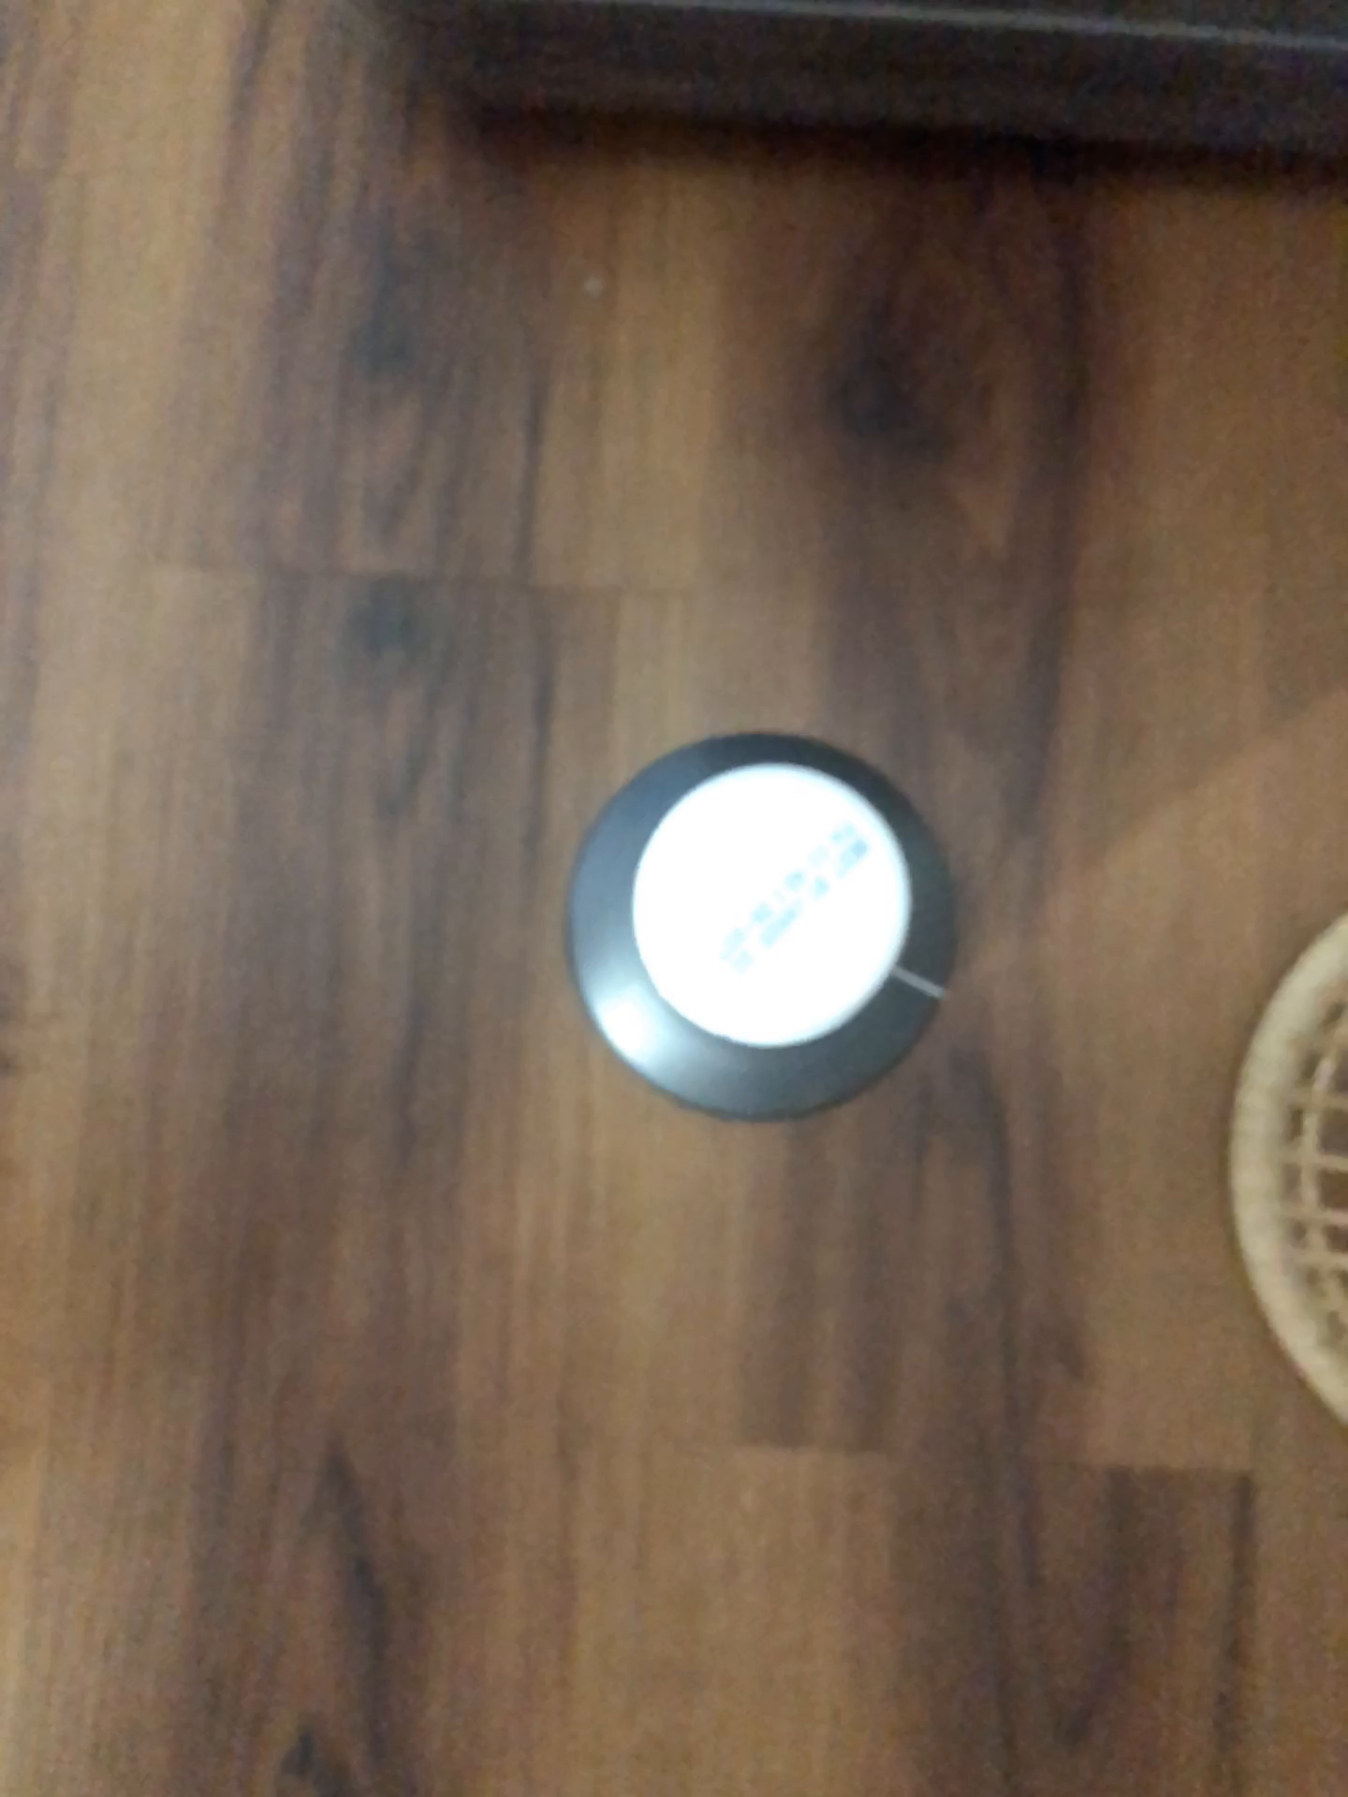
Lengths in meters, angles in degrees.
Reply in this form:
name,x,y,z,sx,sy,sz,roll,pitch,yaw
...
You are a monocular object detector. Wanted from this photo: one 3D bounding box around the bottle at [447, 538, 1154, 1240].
name,x,y,z,sx,sy,sz,roll,pitch,yaw
bottle,0.018,0.009,0.305,0.070,0.185,0.070,0,83,0
